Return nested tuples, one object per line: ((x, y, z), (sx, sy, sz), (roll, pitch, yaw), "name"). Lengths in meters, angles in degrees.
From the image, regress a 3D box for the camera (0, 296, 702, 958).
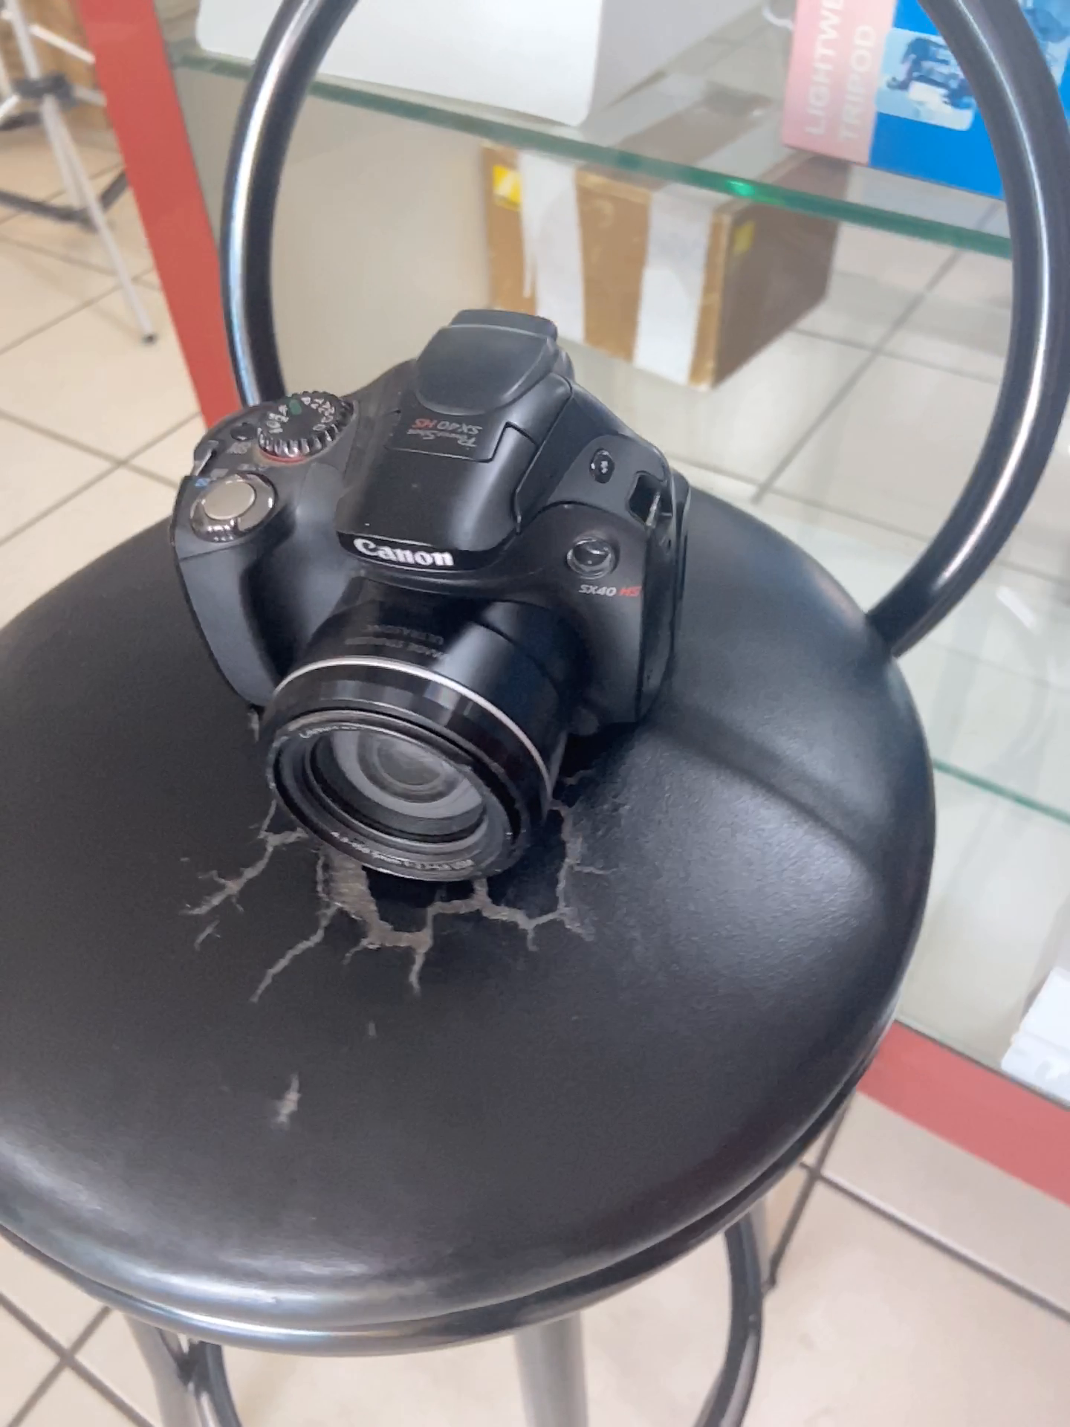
((-0.030, -0.024, 0.257), (0.120, 0.089, 0.111), (7, 47, 10), "camera")
